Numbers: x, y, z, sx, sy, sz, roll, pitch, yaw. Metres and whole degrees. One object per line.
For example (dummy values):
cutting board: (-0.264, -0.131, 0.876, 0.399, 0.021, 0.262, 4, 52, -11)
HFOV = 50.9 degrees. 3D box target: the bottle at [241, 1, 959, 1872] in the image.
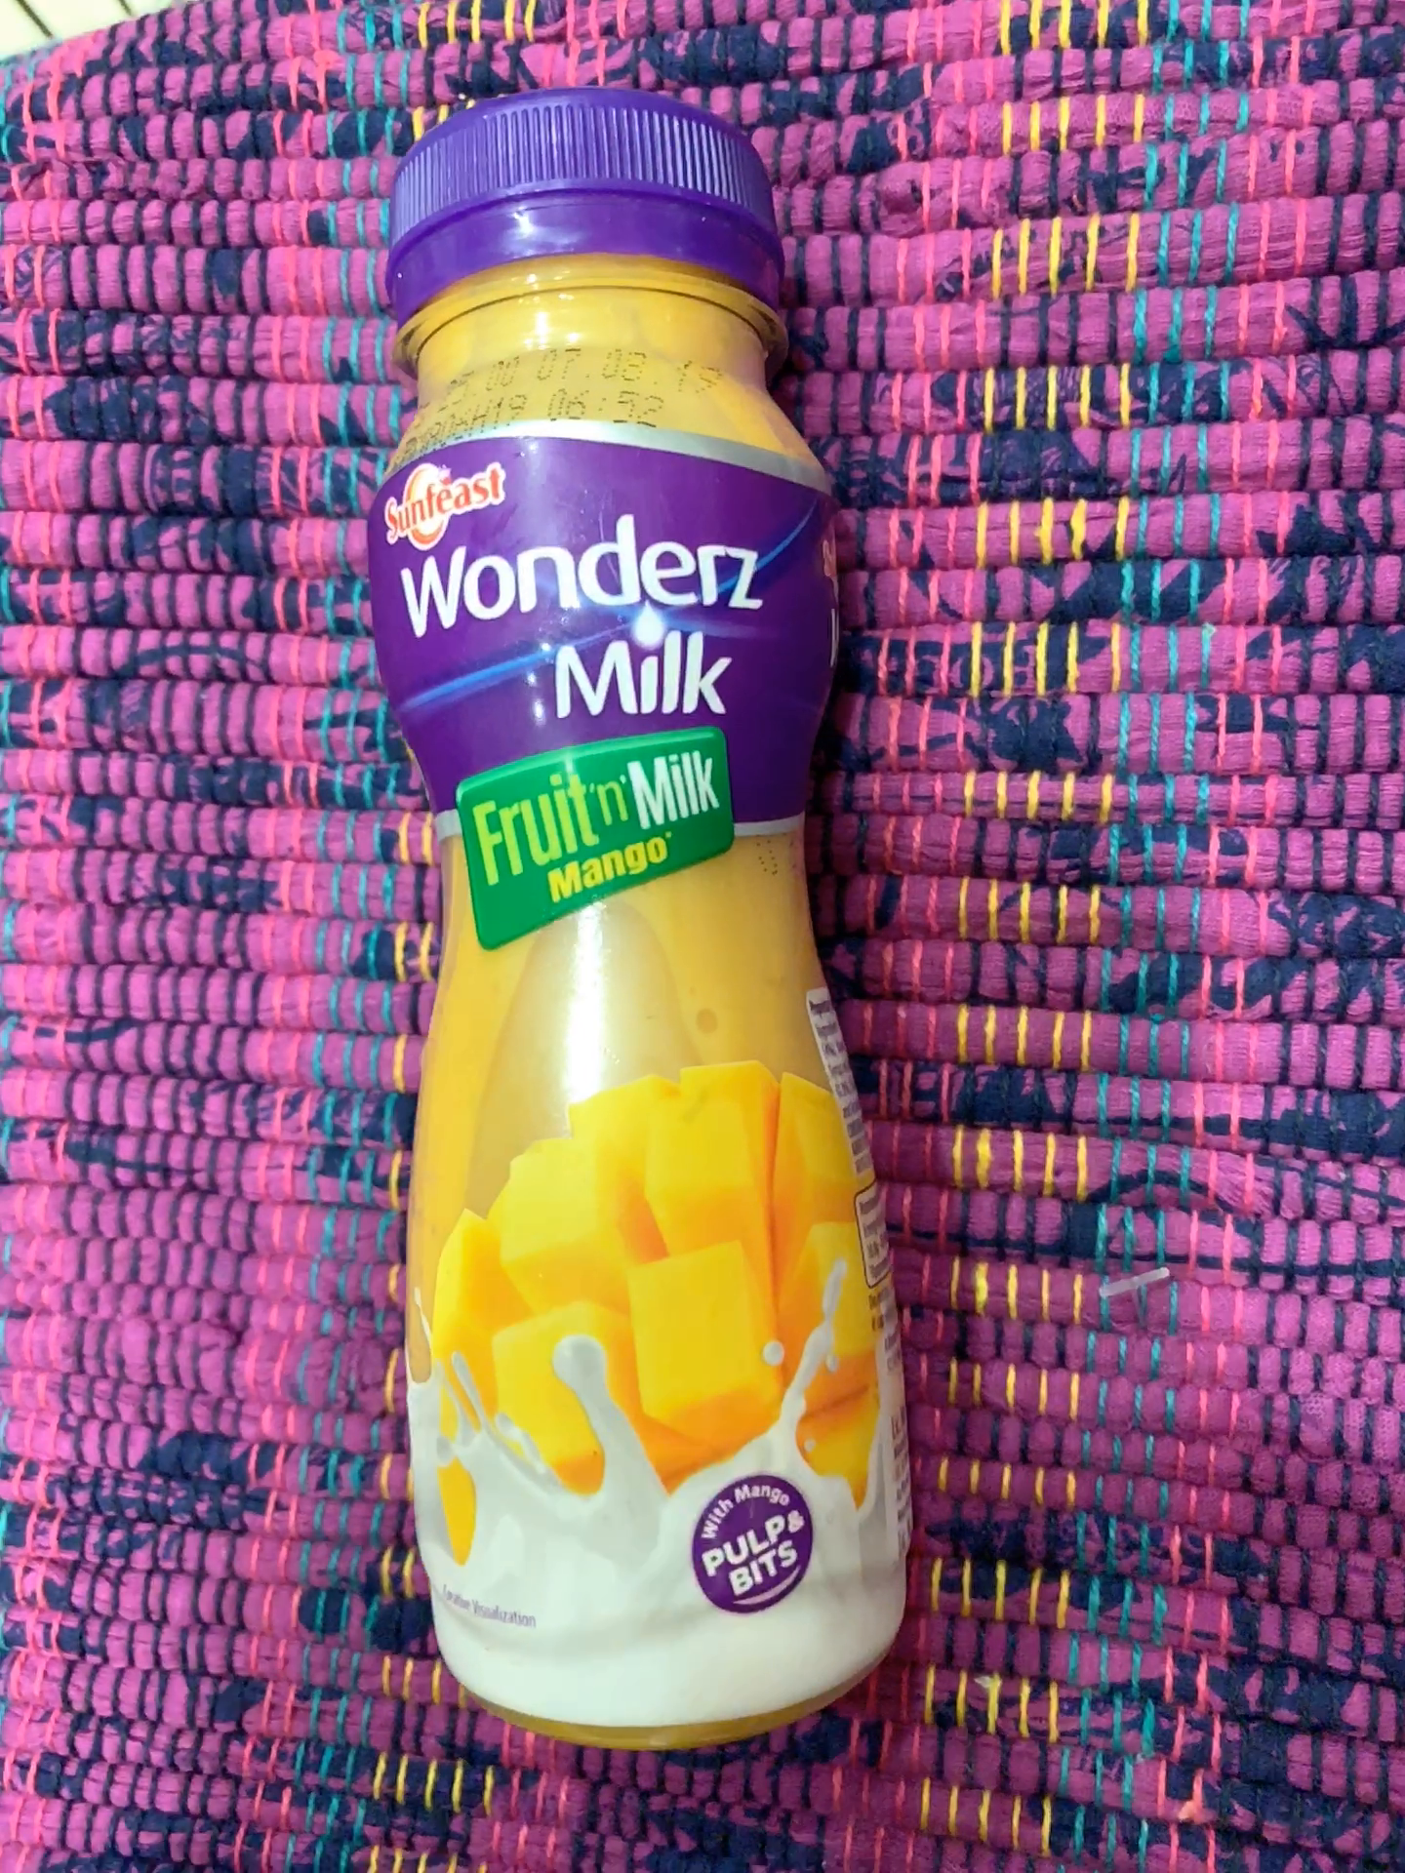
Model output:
bottle: (-0.007, 0.002, 0.140, 0.050, 0.040, 0.150, -4, 87, 10)
